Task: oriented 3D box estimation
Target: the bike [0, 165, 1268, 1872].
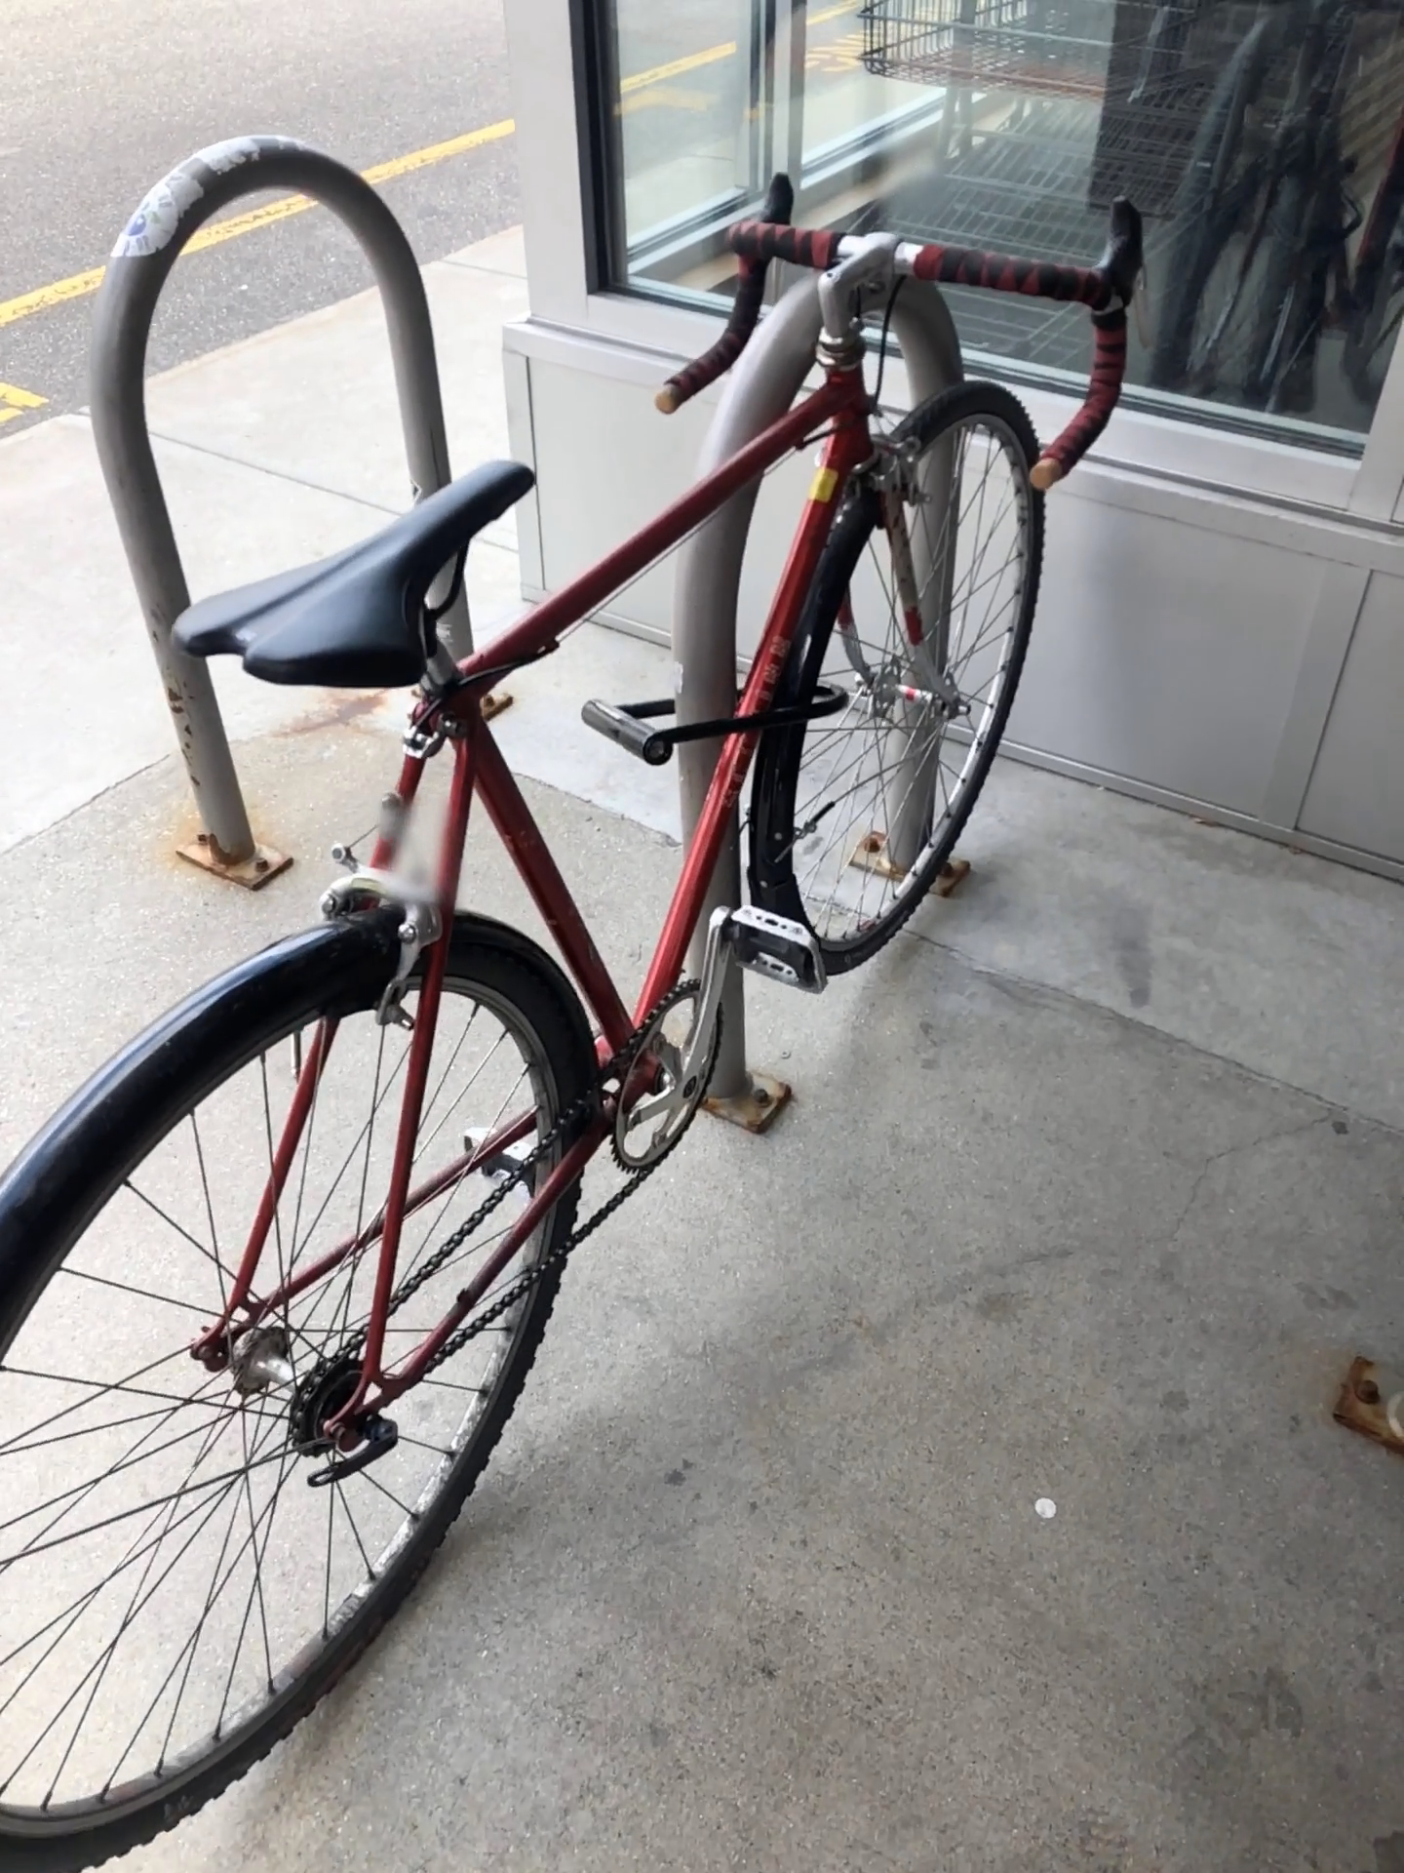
[{"bbox_3d":[-0.040,-0.009,1.425,0.459,0.787,1.698,22,48,23],"label":"bike"}]
